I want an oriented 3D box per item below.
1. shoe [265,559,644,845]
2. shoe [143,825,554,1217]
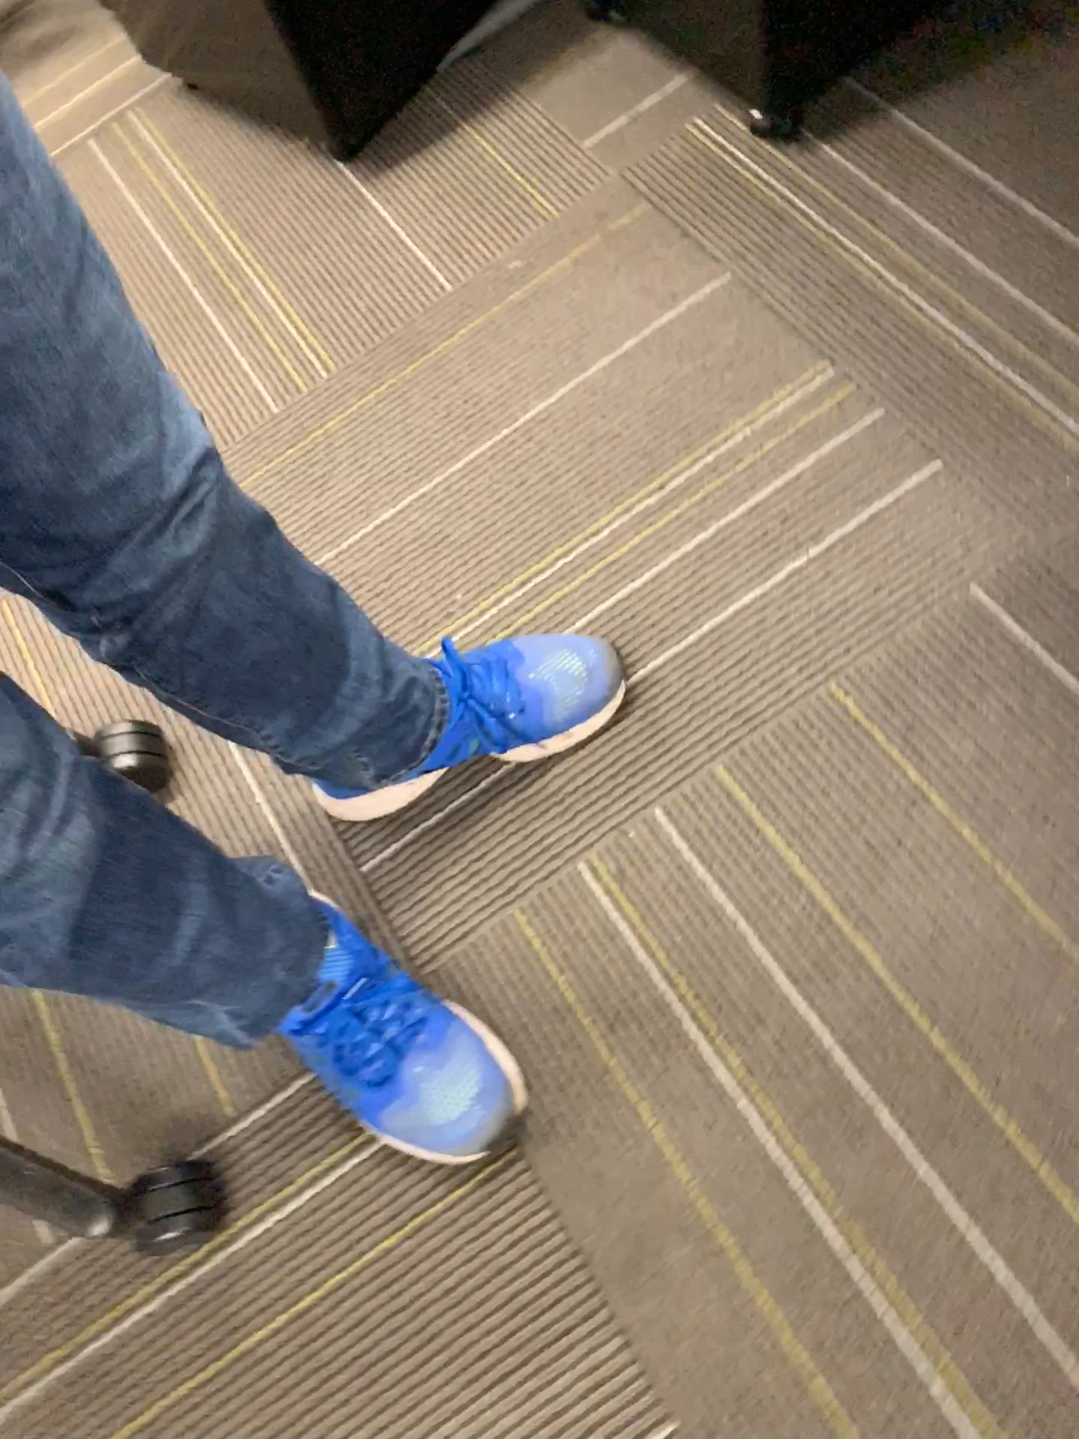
[{"bbox_3d":[-0.082,-0.008,0.958,0.311,0.088,0.142,-18,62,18],"label":"shoe"},{"bbox_3d":[-0.162,0.228,0.881,0.340,0.088,0.119,30,77,35],"label":"shoe"}]
